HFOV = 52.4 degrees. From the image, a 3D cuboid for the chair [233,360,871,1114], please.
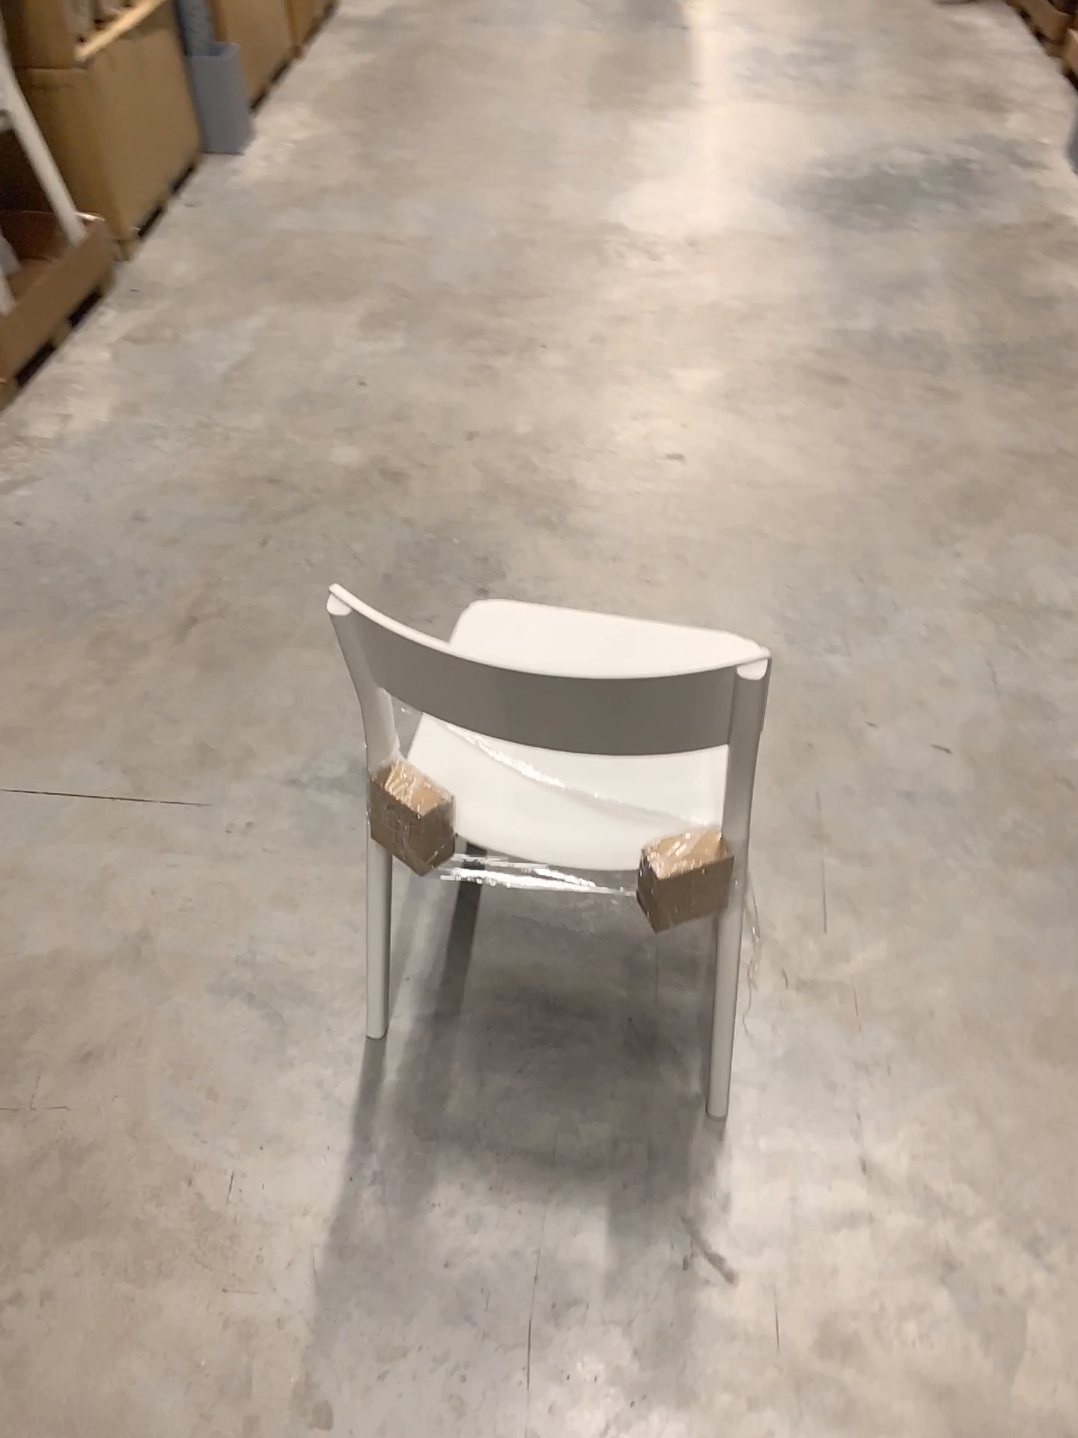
[{"bbox_3d":[0.058,0.020,1.276,0.520,0.618,0.532,8,46,9],"label":"chair"}]
